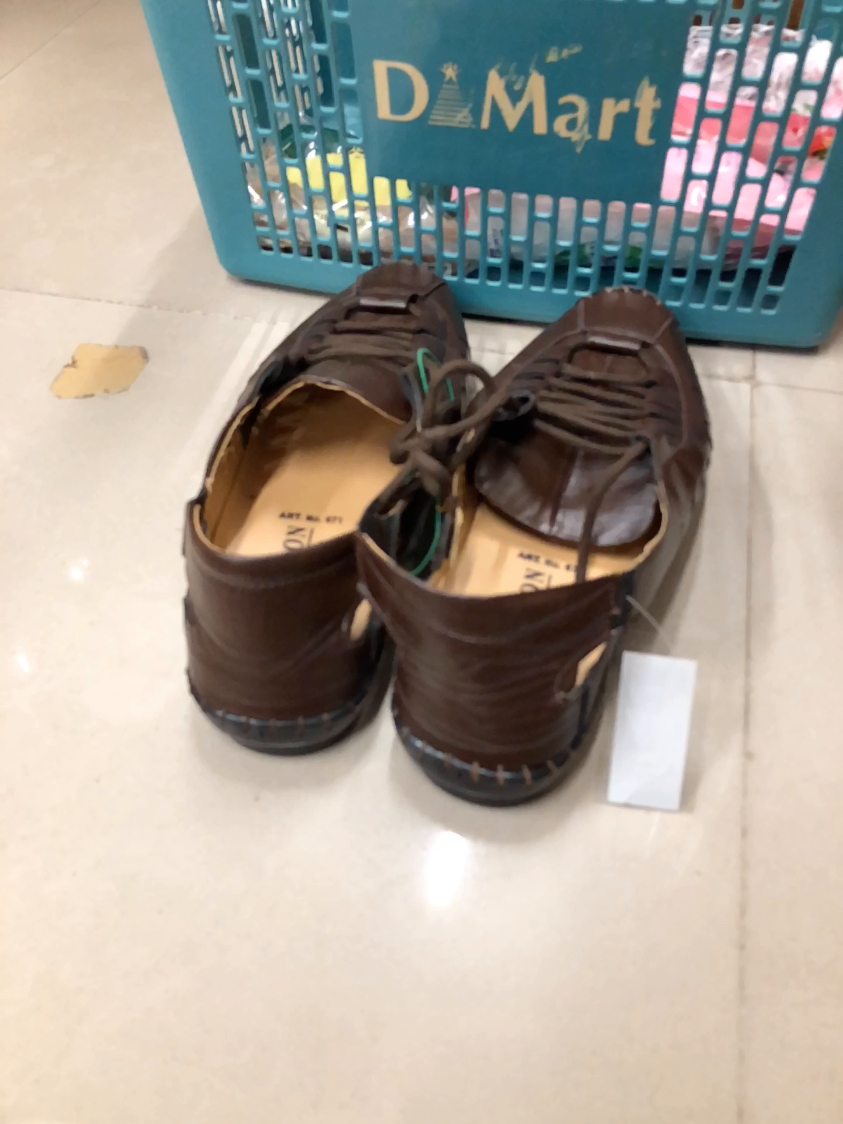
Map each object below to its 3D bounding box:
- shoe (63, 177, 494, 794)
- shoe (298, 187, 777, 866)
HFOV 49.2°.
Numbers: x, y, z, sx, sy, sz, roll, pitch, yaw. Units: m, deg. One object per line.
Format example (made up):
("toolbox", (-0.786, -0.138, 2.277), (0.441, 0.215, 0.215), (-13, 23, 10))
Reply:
("shoe", (-0.037, -0.052, 0.406), (0.107, 0.101, 0.274), (5, 50, 7))
("shoe", (0.064, -0.036, 0.387), (0.112, 0.101, 0.274), (14, 52, 14))
